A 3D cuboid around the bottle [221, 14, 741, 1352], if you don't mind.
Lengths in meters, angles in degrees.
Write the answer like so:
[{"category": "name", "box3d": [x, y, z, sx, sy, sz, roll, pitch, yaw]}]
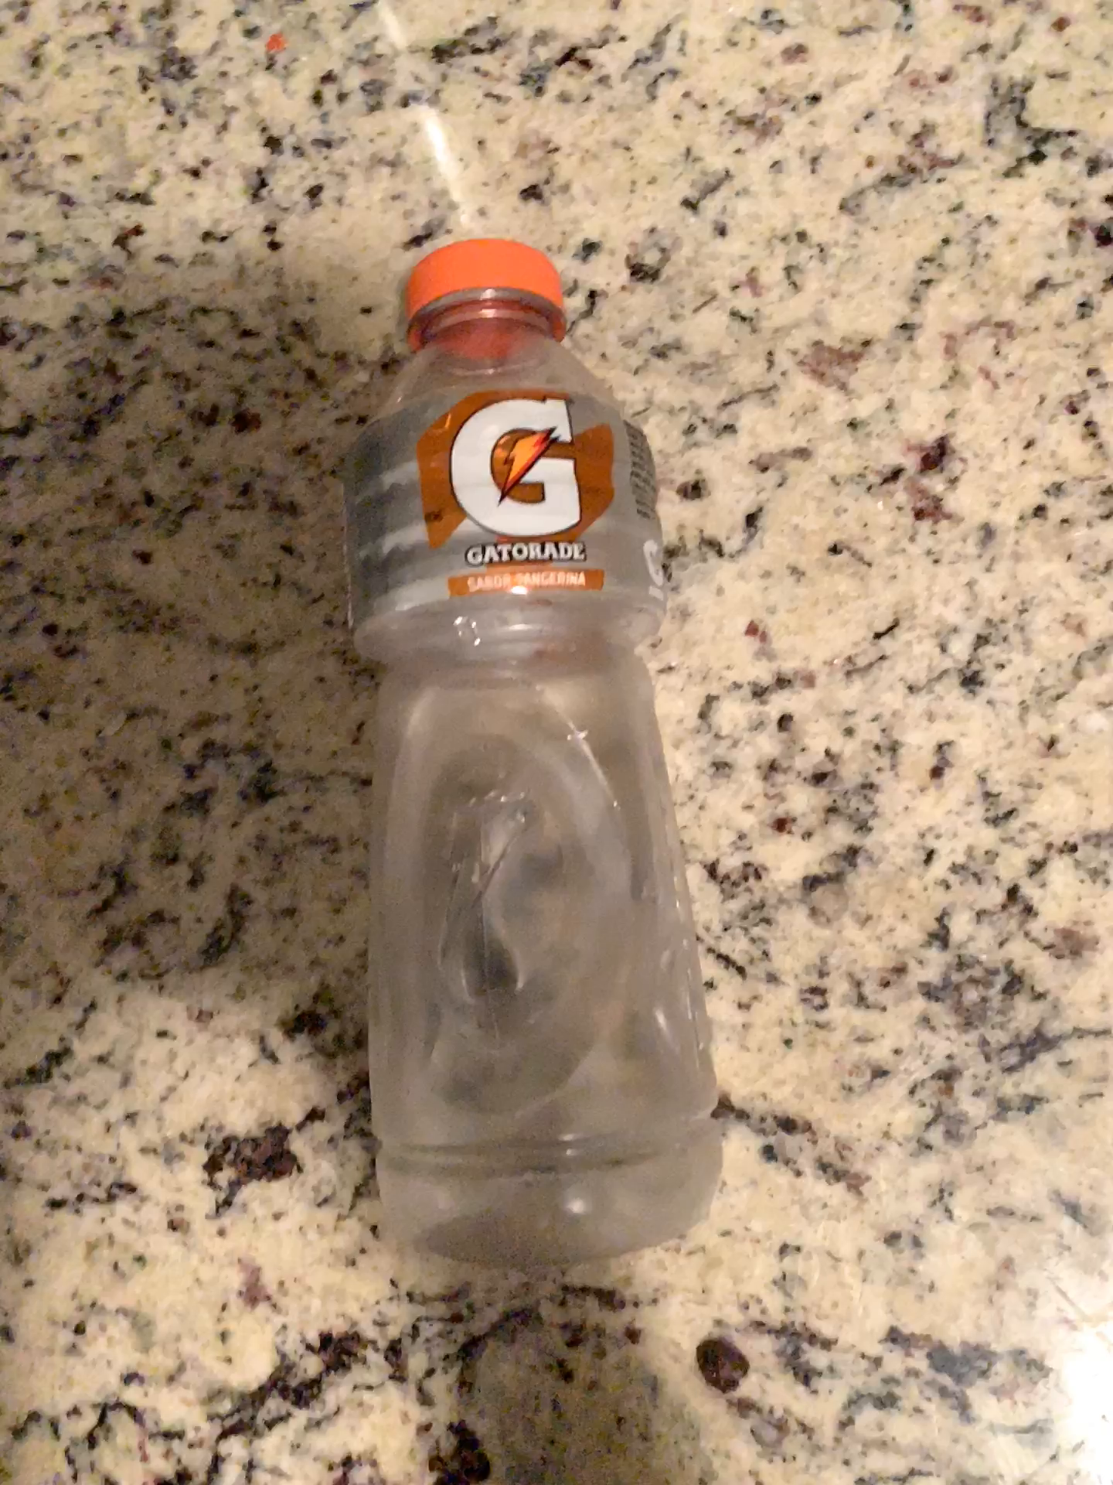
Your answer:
[{"category": "bottle", "box3d": [-0.012, -0.011, 0.227, 0.070, 0.070, 0.220, -7, 82, 10]}]
